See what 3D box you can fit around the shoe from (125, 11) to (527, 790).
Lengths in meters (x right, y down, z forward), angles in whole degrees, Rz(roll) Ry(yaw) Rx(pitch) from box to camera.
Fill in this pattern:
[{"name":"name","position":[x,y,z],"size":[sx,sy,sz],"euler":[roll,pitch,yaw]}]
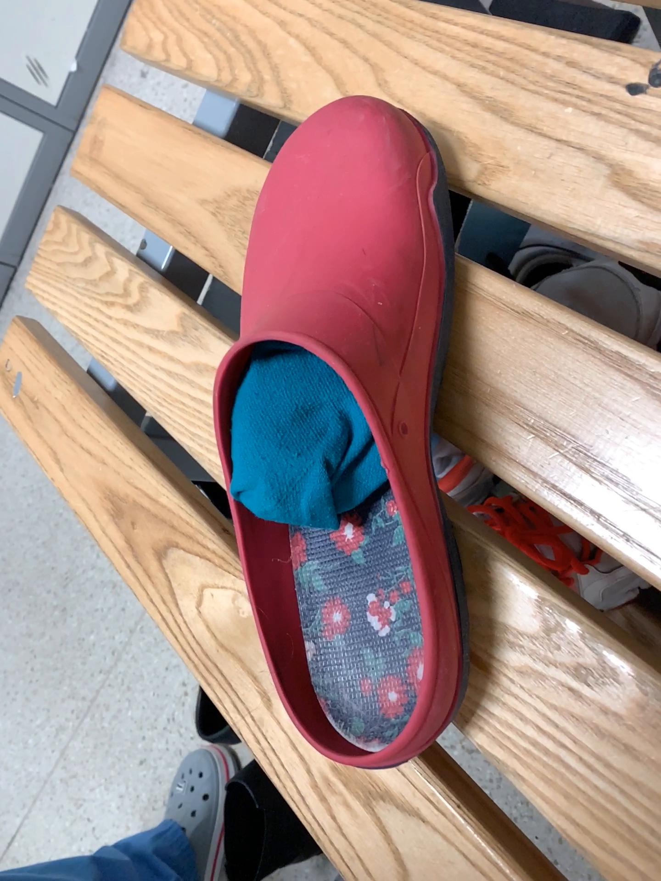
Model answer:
[{"name":"shoe","position":[-0.010,-0.011,0.261],"size":[0.107,0.076,0.239],"euler":[-15,74,36]}]
